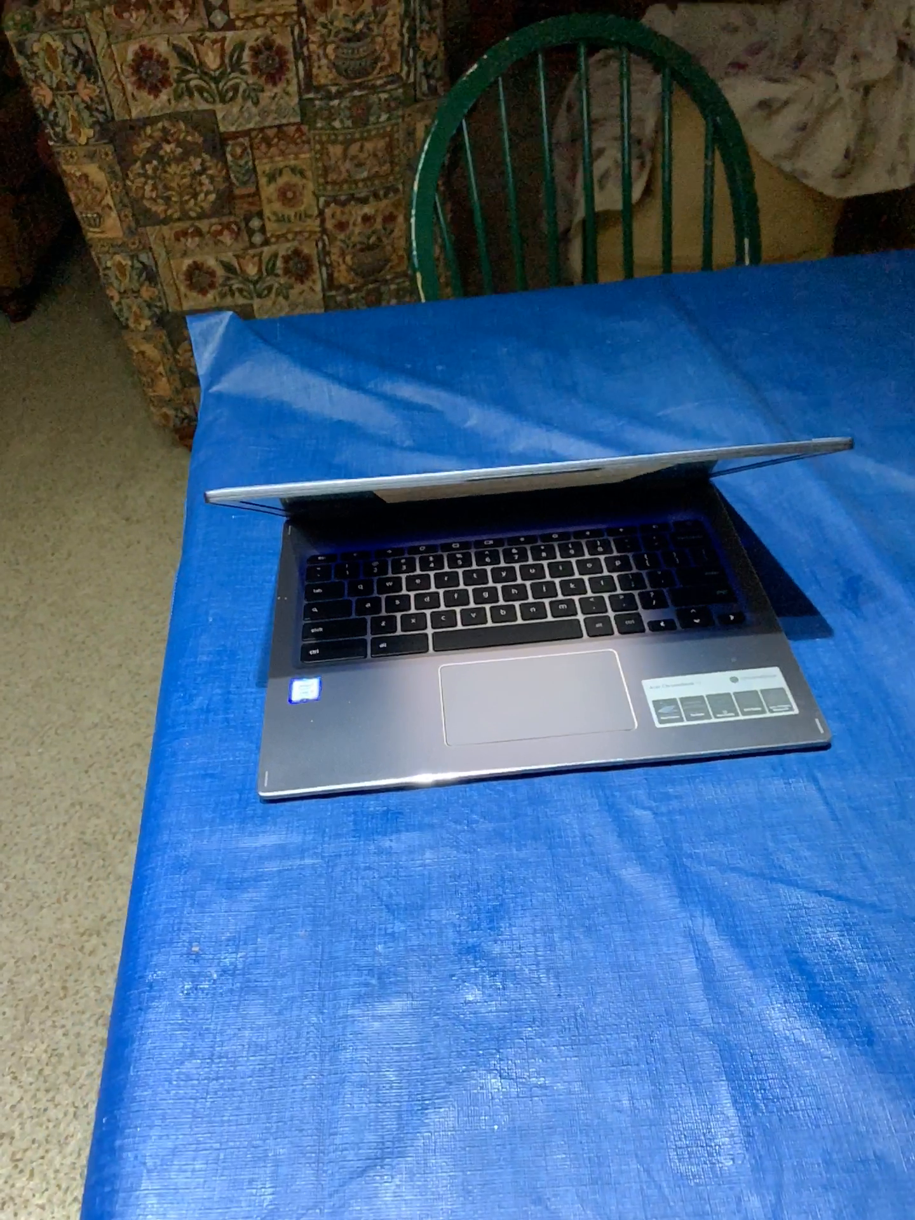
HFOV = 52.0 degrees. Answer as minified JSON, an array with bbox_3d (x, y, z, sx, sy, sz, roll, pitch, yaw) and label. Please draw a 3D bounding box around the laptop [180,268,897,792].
[{"bbox_3d":[0.031,-0.058,0.538,0.303,0.150,0.252,-5,42,-1],"label":"laptop"}]
